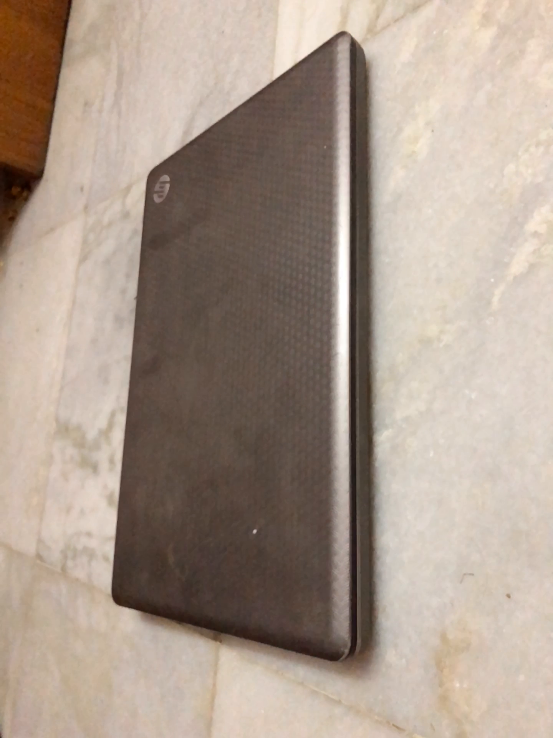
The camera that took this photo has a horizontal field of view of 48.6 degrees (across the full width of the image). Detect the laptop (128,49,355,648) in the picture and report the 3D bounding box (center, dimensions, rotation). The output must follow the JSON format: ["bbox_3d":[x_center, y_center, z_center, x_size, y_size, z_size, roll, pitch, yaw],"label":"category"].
[{"bbox_3d":[-0.036,-0.014,0.466,0.249,0.002,0.378,-13,71,47],"label":"laptop"}]
